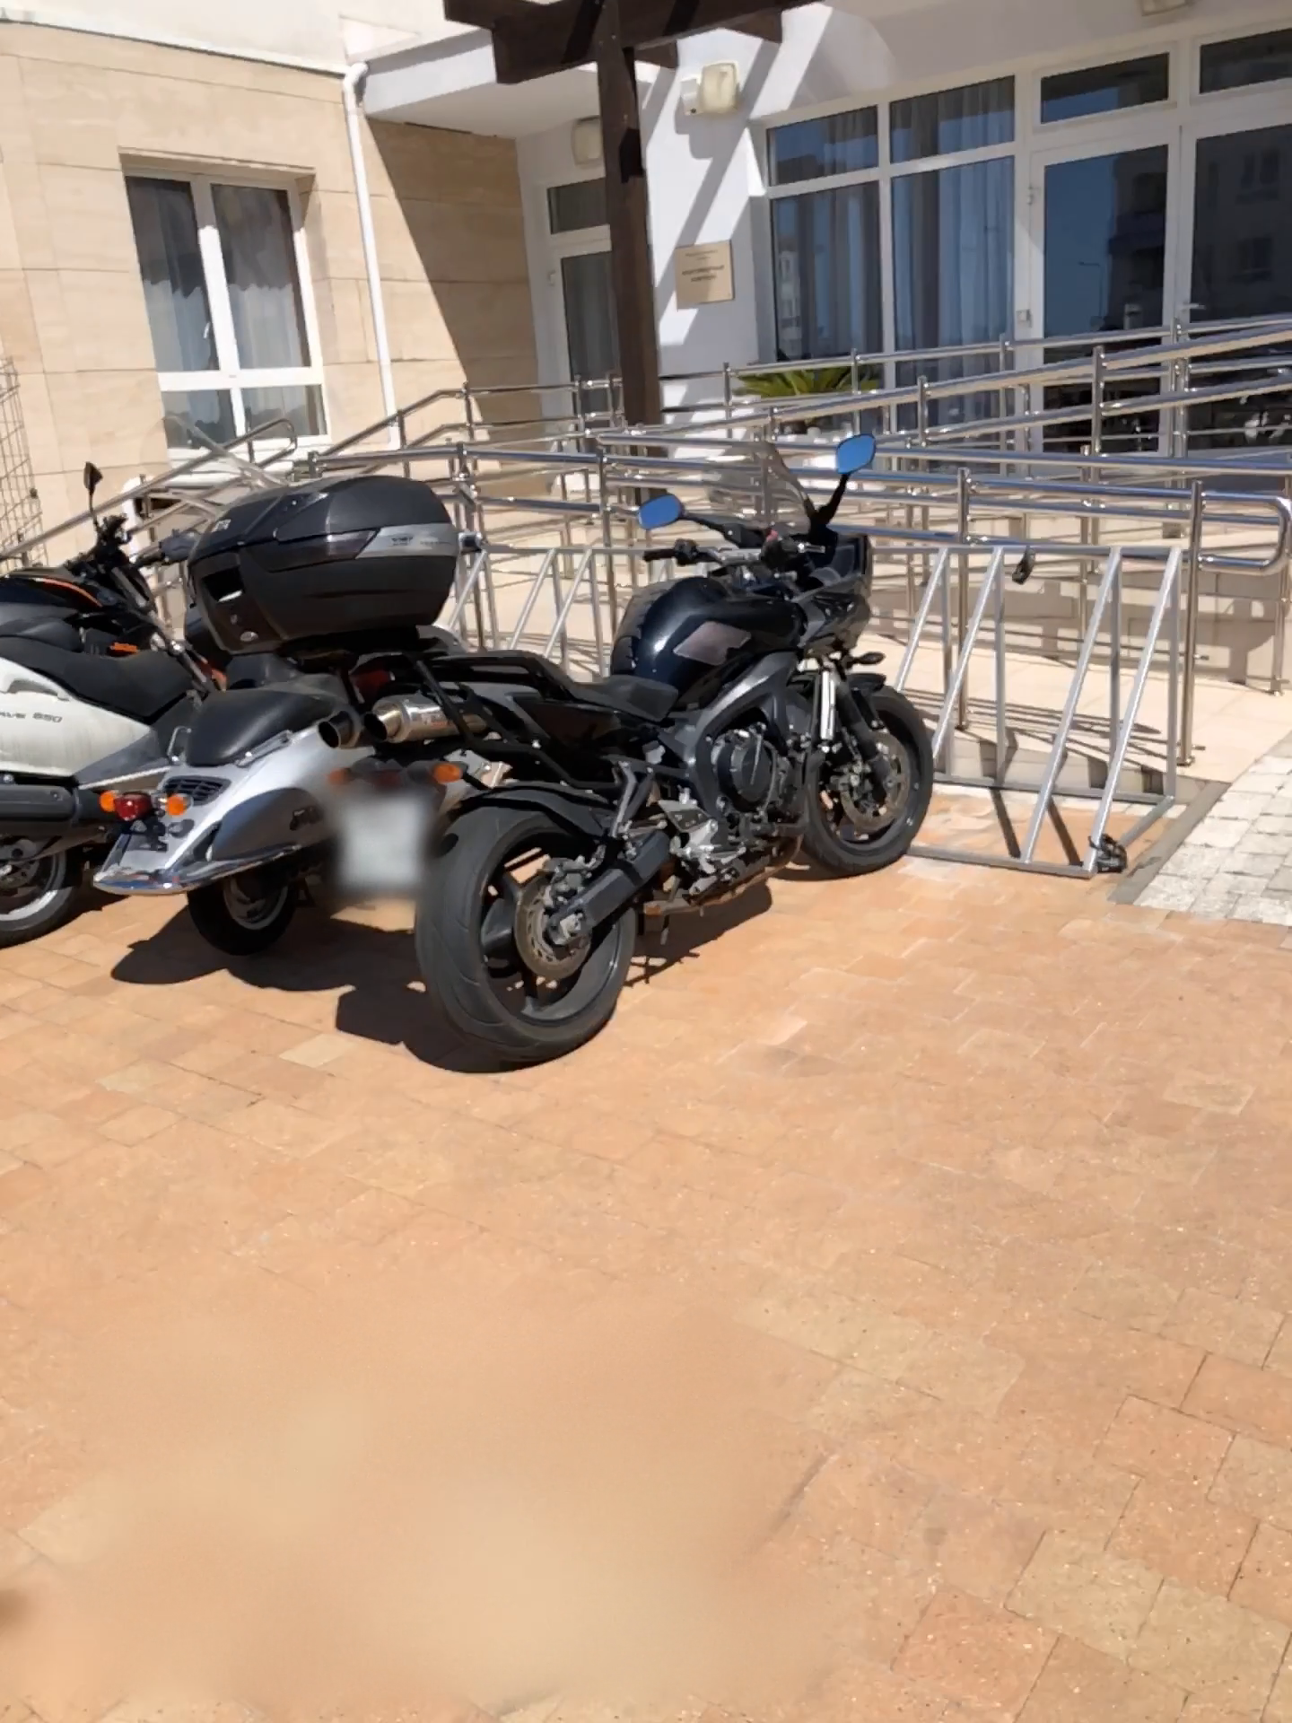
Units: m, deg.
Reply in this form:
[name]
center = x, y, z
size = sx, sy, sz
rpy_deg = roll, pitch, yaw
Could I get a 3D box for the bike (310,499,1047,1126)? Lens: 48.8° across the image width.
[bike]
center = 0.260, -0.256, 3.494
size = 0.606, 1.003, 1.923
rpy_deg = 8, 22, 37
